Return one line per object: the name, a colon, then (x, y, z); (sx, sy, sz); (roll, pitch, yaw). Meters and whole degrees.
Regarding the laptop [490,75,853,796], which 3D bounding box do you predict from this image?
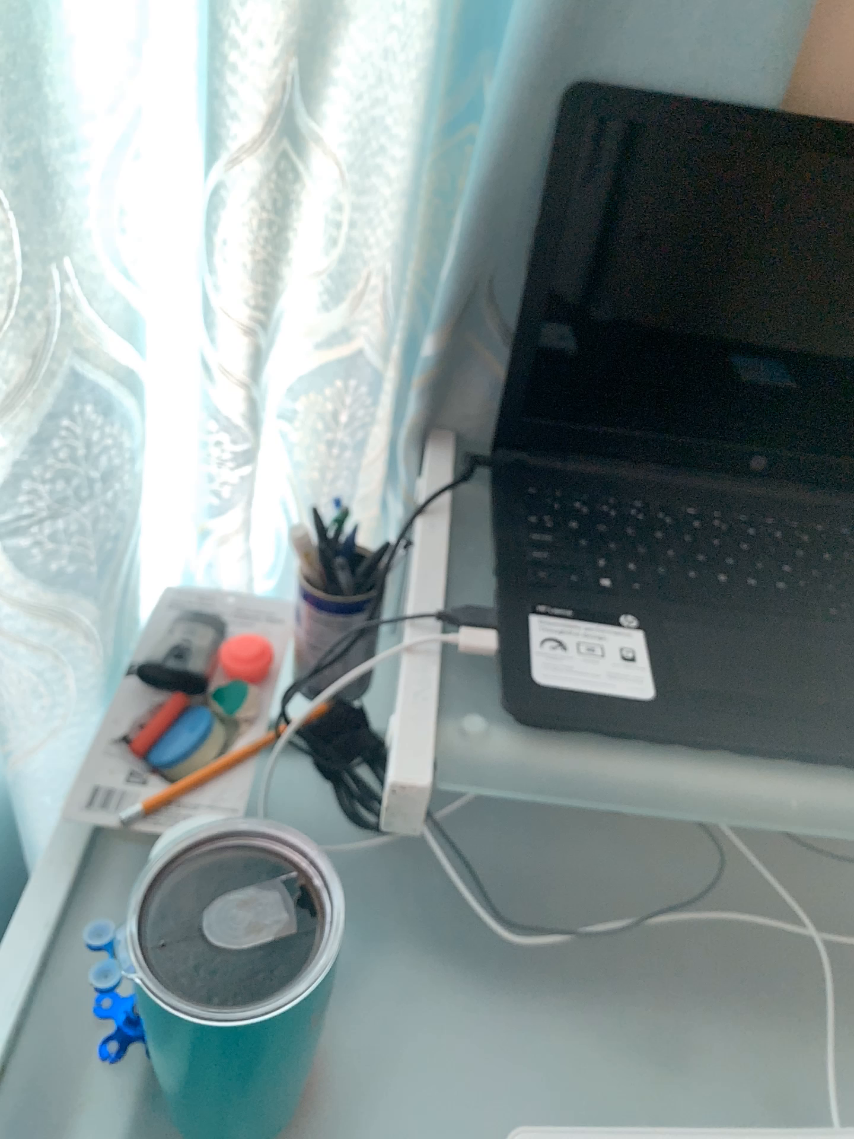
laptop: (0.234, -0.076, 0.463); (0.358, 0.226, 0.247); (7, 39, -4)
